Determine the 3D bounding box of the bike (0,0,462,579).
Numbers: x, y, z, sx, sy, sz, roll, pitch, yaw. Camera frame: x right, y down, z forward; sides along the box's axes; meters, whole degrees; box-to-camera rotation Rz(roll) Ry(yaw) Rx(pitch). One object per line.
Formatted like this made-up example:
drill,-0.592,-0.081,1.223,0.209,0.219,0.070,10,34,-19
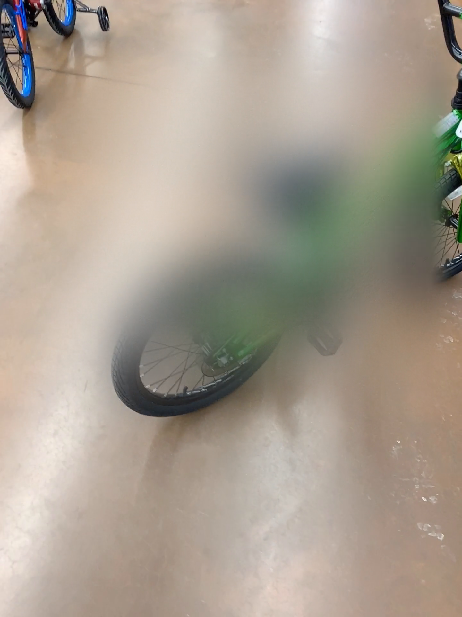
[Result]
bike,0.447,-0.205,1.064,1.407,1.035,0.719,-25,56,-16
